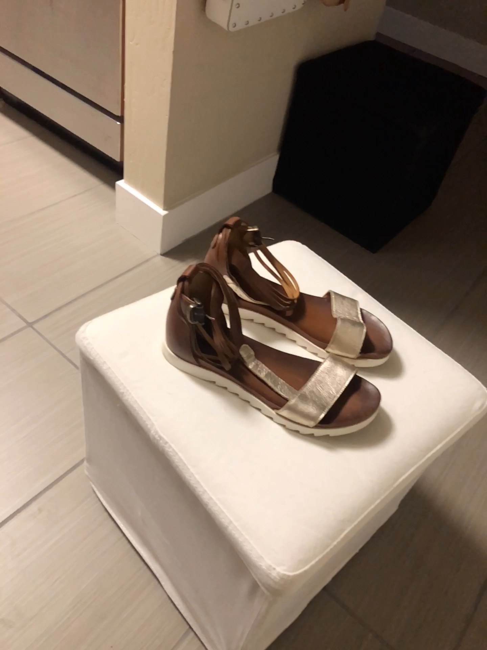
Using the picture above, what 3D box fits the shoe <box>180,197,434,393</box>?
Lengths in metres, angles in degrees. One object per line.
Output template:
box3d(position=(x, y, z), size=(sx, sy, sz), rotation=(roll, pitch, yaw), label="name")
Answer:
box3d(position=(0.071, -0.040, 0.630), size=(0.260, 0.090, 0.110), rotation=(24, 46, 10), label="shoe")

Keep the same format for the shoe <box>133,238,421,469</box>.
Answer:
box3d(position=(0.030, 0.023, 0.550), size=(0.260, 0.090, 0.110), rotation=(24, 46, 10), label="shoe")
